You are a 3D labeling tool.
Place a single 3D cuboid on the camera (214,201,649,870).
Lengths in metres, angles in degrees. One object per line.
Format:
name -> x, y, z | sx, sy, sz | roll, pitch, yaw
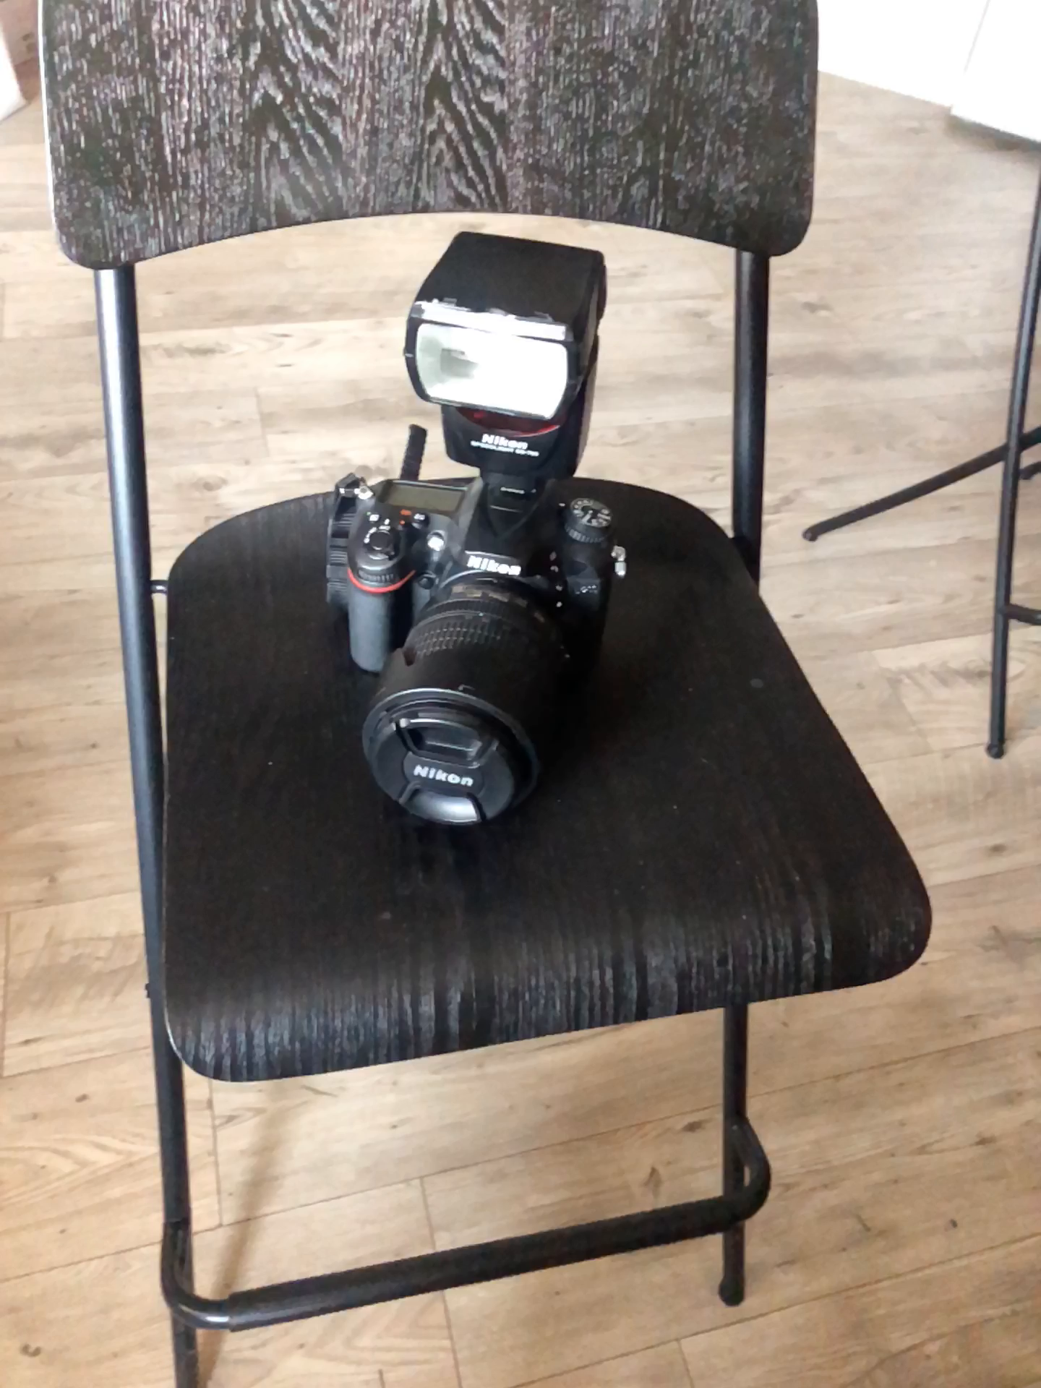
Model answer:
camera -> -0.025, -0.063, 0.497 | 0.125, 0.217, 0.168 | 8, 48, 5
